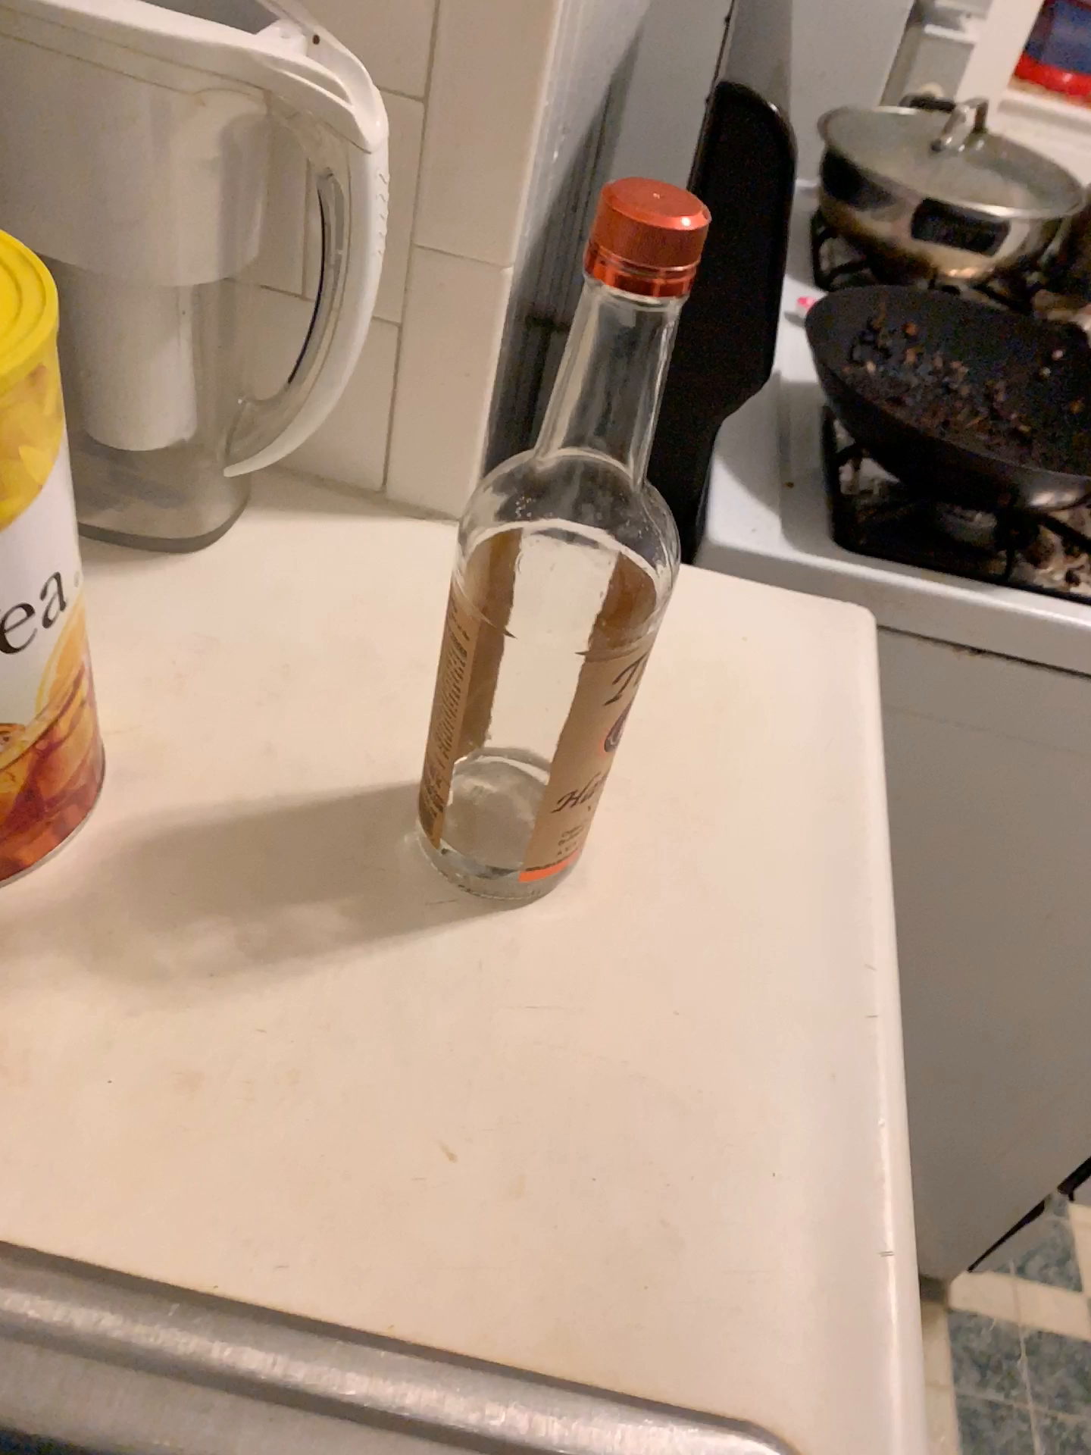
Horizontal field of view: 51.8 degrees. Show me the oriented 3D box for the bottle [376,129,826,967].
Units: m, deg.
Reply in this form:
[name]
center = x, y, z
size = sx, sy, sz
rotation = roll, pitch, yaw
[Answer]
[bottle]
center = 0.005, -0.039, 0.402
size = 0.080, 0.288, 0.080
rotation = 8, 45, -8
